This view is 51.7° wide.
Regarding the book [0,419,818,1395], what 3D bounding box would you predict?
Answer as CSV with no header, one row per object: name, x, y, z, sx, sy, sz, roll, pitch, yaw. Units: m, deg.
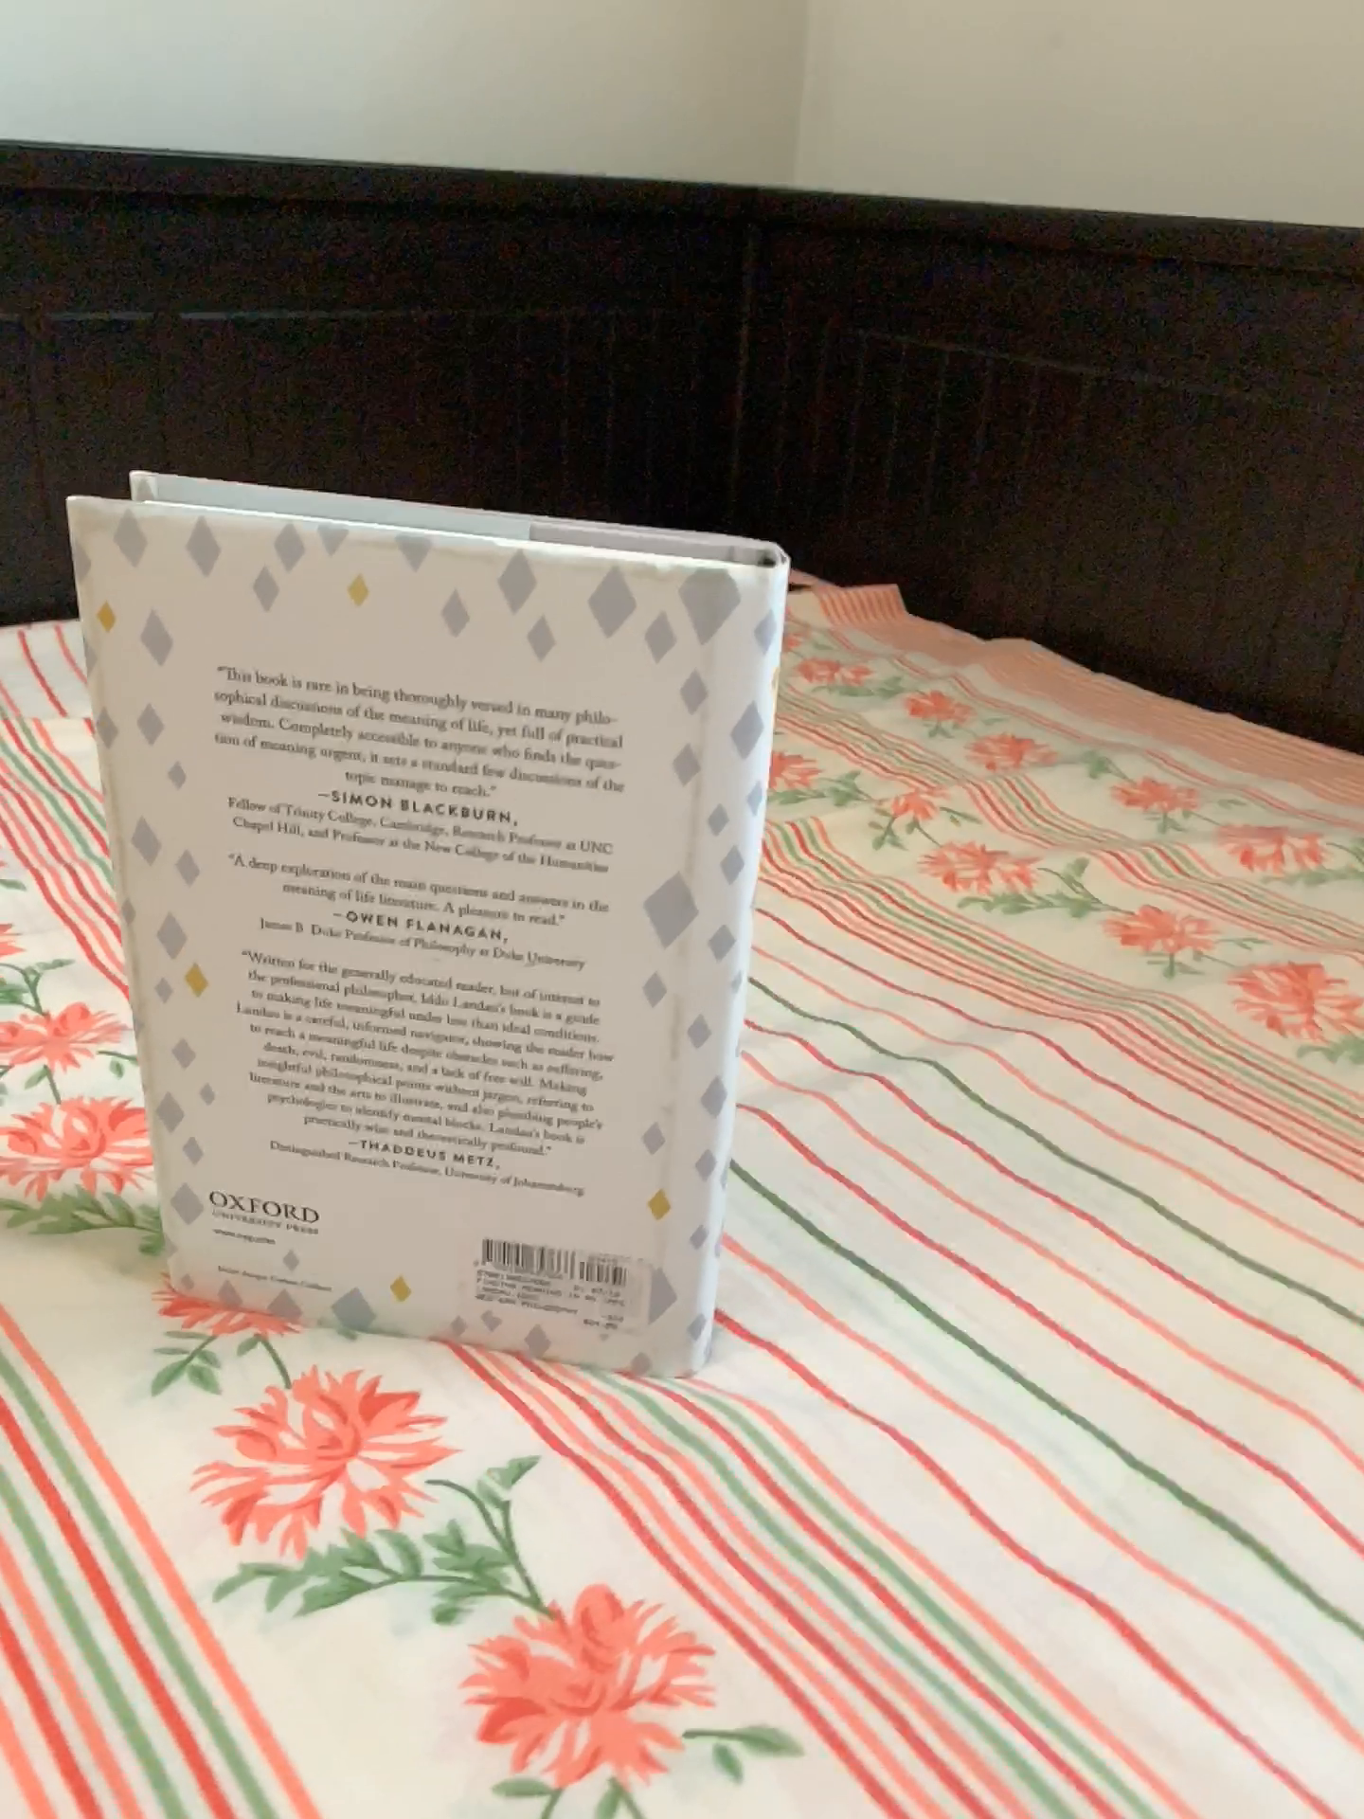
book,-0.060,0.009,0.328,0.160,0.218,0.030,7,28,7
